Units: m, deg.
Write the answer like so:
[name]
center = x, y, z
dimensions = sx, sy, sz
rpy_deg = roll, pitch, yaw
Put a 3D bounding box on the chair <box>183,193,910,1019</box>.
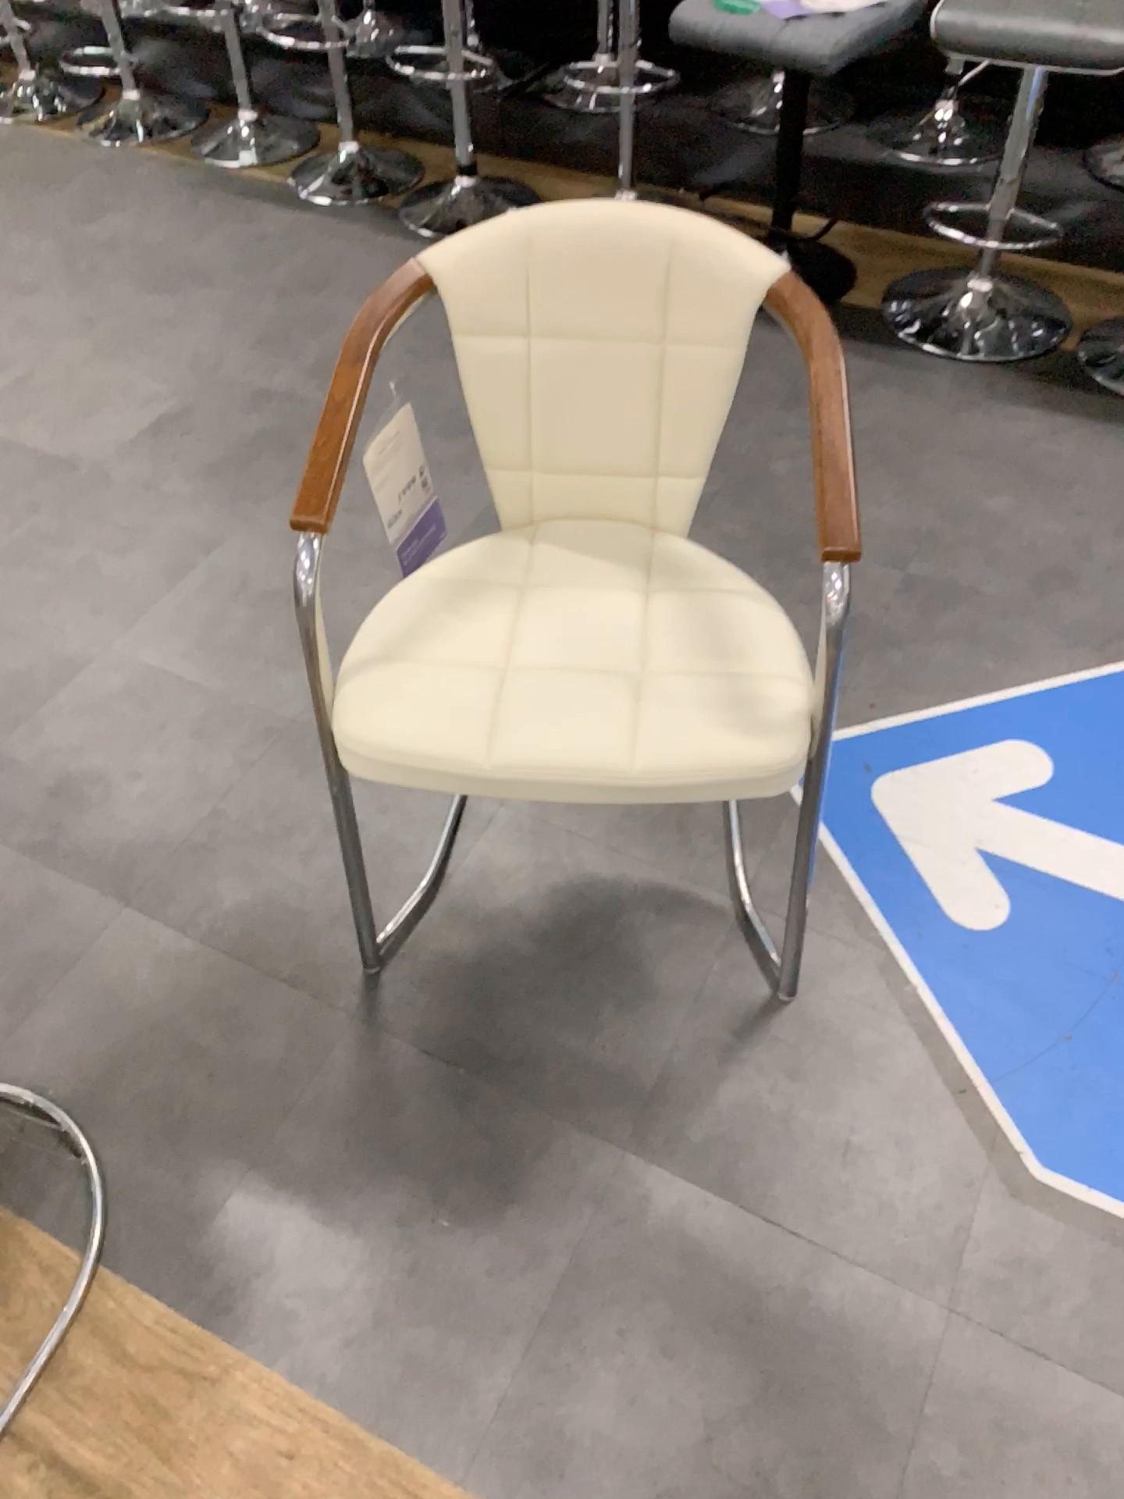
[chair]
center = 0.016, -0.151, 1.451
dimensions = 0.600, 0.816, 0.603
rpy_deg = 3, 48, 4
